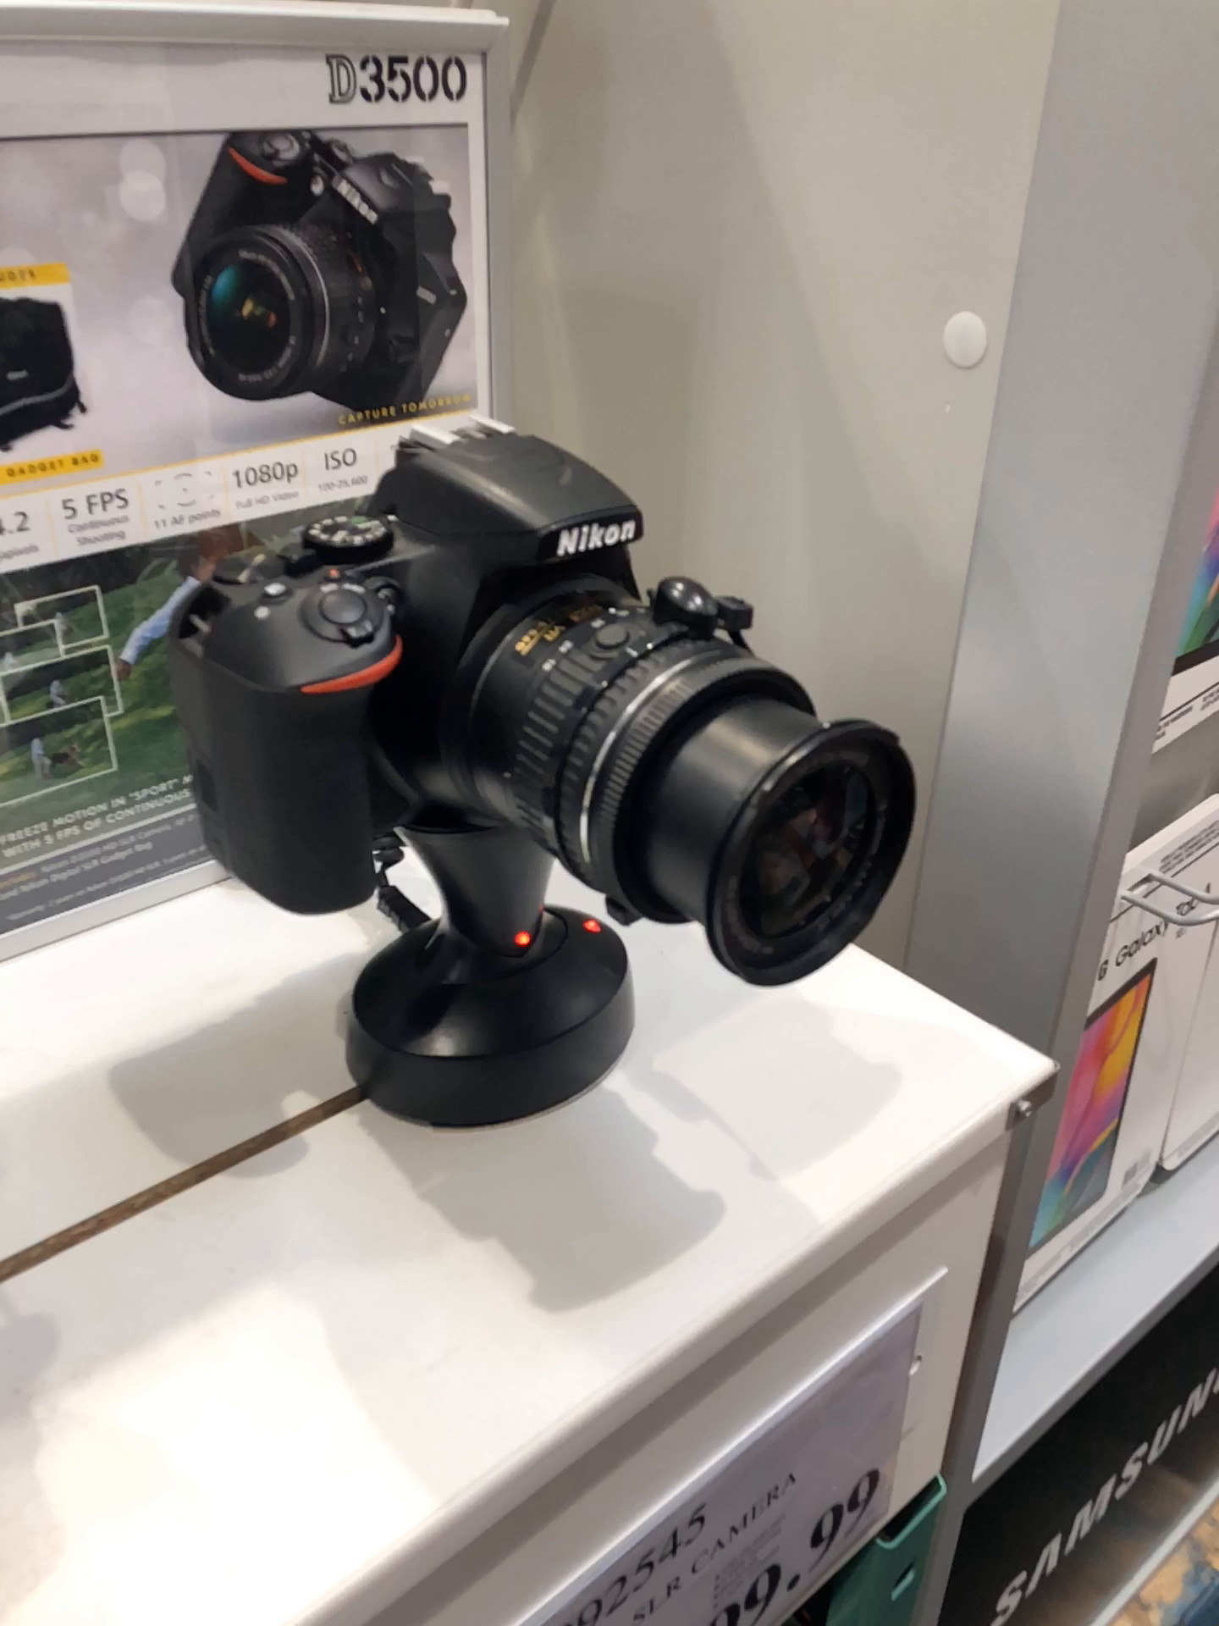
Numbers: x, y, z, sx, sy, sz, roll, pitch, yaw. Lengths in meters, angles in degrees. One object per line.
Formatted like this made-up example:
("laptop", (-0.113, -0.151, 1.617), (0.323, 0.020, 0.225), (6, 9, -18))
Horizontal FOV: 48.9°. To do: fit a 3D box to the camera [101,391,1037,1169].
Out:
("camera", (-0.012, -0.025, 0.294), (0.130, 0.089, 0.141), (-22, 37, -36))
